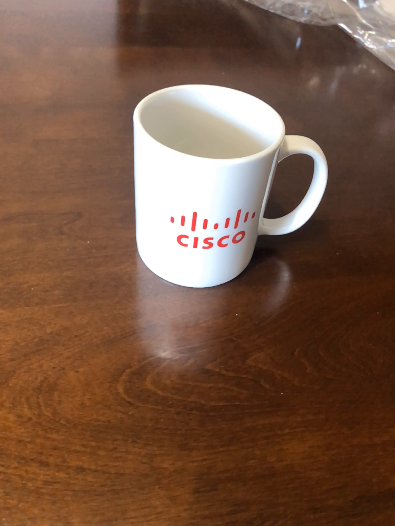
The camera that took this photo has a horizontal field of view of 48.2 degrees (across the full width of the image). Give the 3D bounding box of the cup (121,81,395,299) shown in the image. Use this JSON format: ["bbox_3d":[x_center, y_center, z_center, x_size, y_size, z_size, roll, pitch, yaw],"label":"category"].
[{"bbox_3d":[0.026,-0.045,0.258,0.130,0.090,0.080,-4,47,-11],"label":"cup"}]
